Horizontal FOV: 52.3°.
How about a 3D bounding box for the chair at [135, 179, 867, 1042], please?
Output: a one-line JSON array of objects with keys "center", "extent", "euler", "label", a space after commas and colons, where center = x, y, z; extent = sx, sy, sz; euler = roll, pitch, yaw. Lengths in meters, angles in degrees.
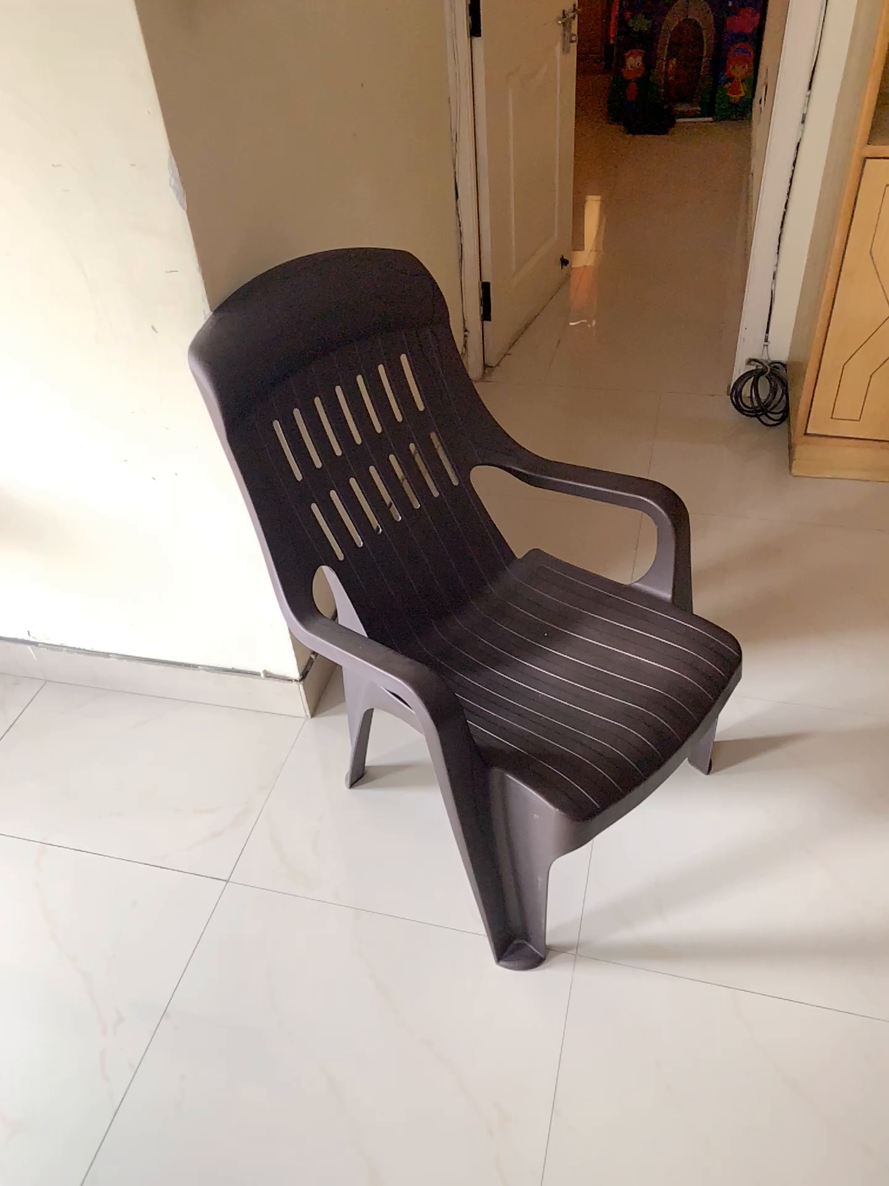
[{"center": [0.090, 0.020, 1.433], "extent": [0.602, 1.031, 0.663], "euler": [-35, 48, -31], "label": "chair"}]
